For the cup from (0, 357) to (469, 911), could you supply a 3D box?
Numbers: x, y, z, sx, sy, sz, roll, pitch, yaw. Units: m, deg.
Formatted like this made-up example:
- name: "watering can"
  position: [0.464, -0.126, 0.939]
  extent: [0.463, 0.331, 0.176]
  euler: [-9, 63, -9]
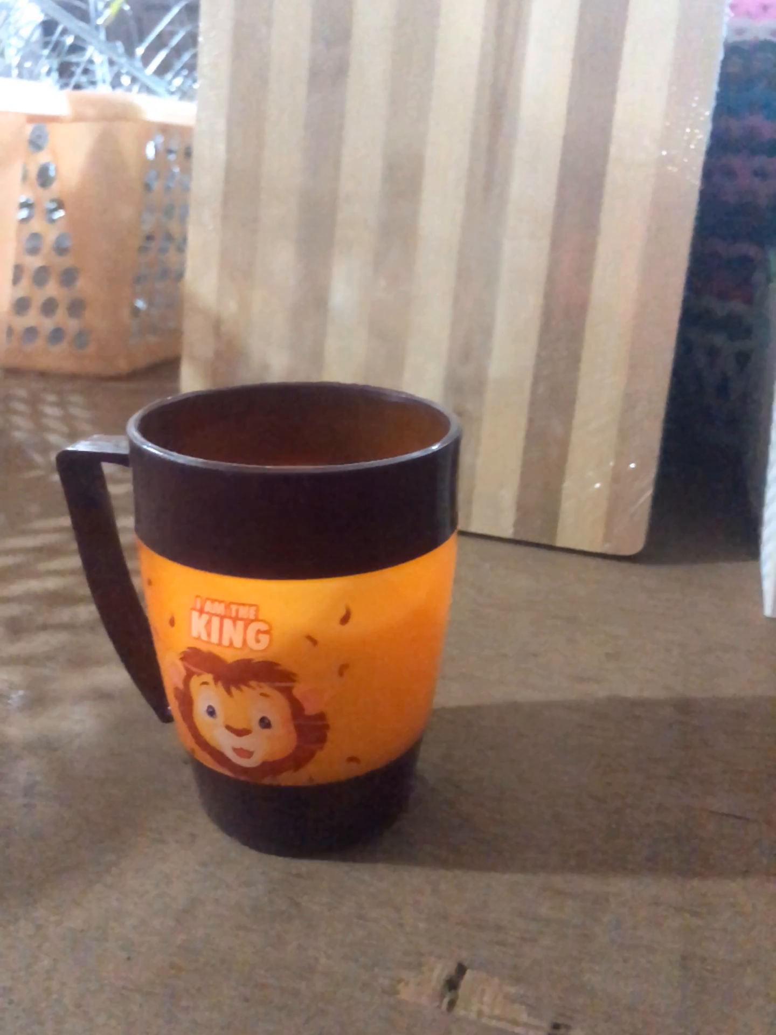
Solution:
- name: "cup"
  position: [-0.040, 0.018, 0.197]
  extent: [0.100, 0.090, 0.060]
  euler: [9, 24, 20]
